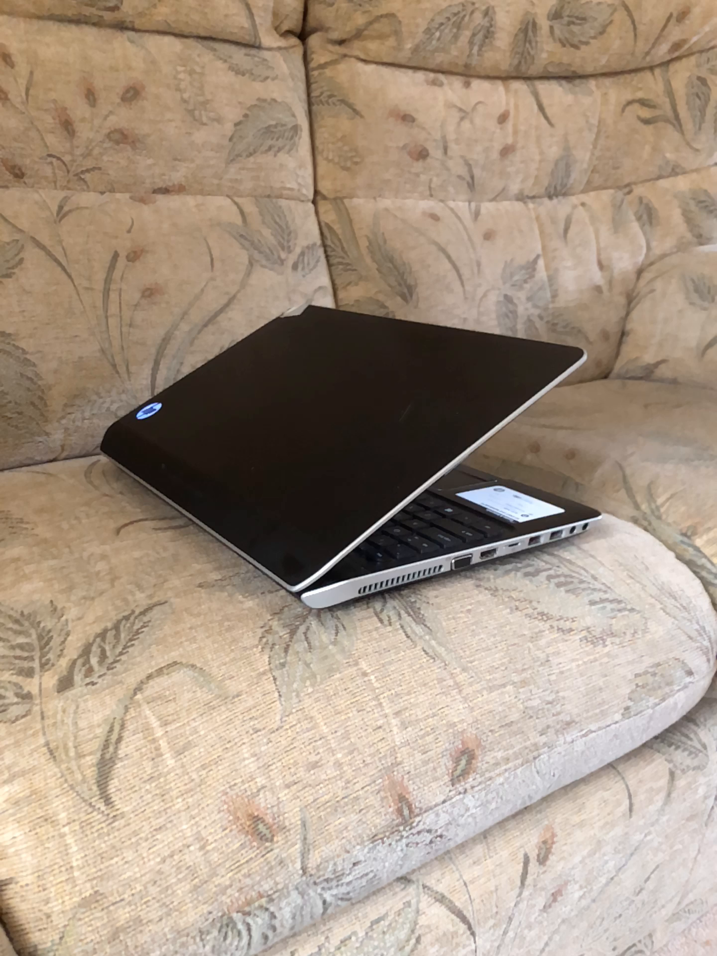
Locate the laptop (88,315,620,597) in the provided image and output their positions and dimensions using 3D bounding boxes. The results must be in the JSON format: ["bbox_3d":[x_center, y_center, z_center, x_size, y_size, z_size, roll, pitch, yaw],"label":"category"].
[{"bbox_3d":[-0.037,-0.055,0.660,0.254,0.113,0.398,-11,21,-33],"label":"laptop"}]
